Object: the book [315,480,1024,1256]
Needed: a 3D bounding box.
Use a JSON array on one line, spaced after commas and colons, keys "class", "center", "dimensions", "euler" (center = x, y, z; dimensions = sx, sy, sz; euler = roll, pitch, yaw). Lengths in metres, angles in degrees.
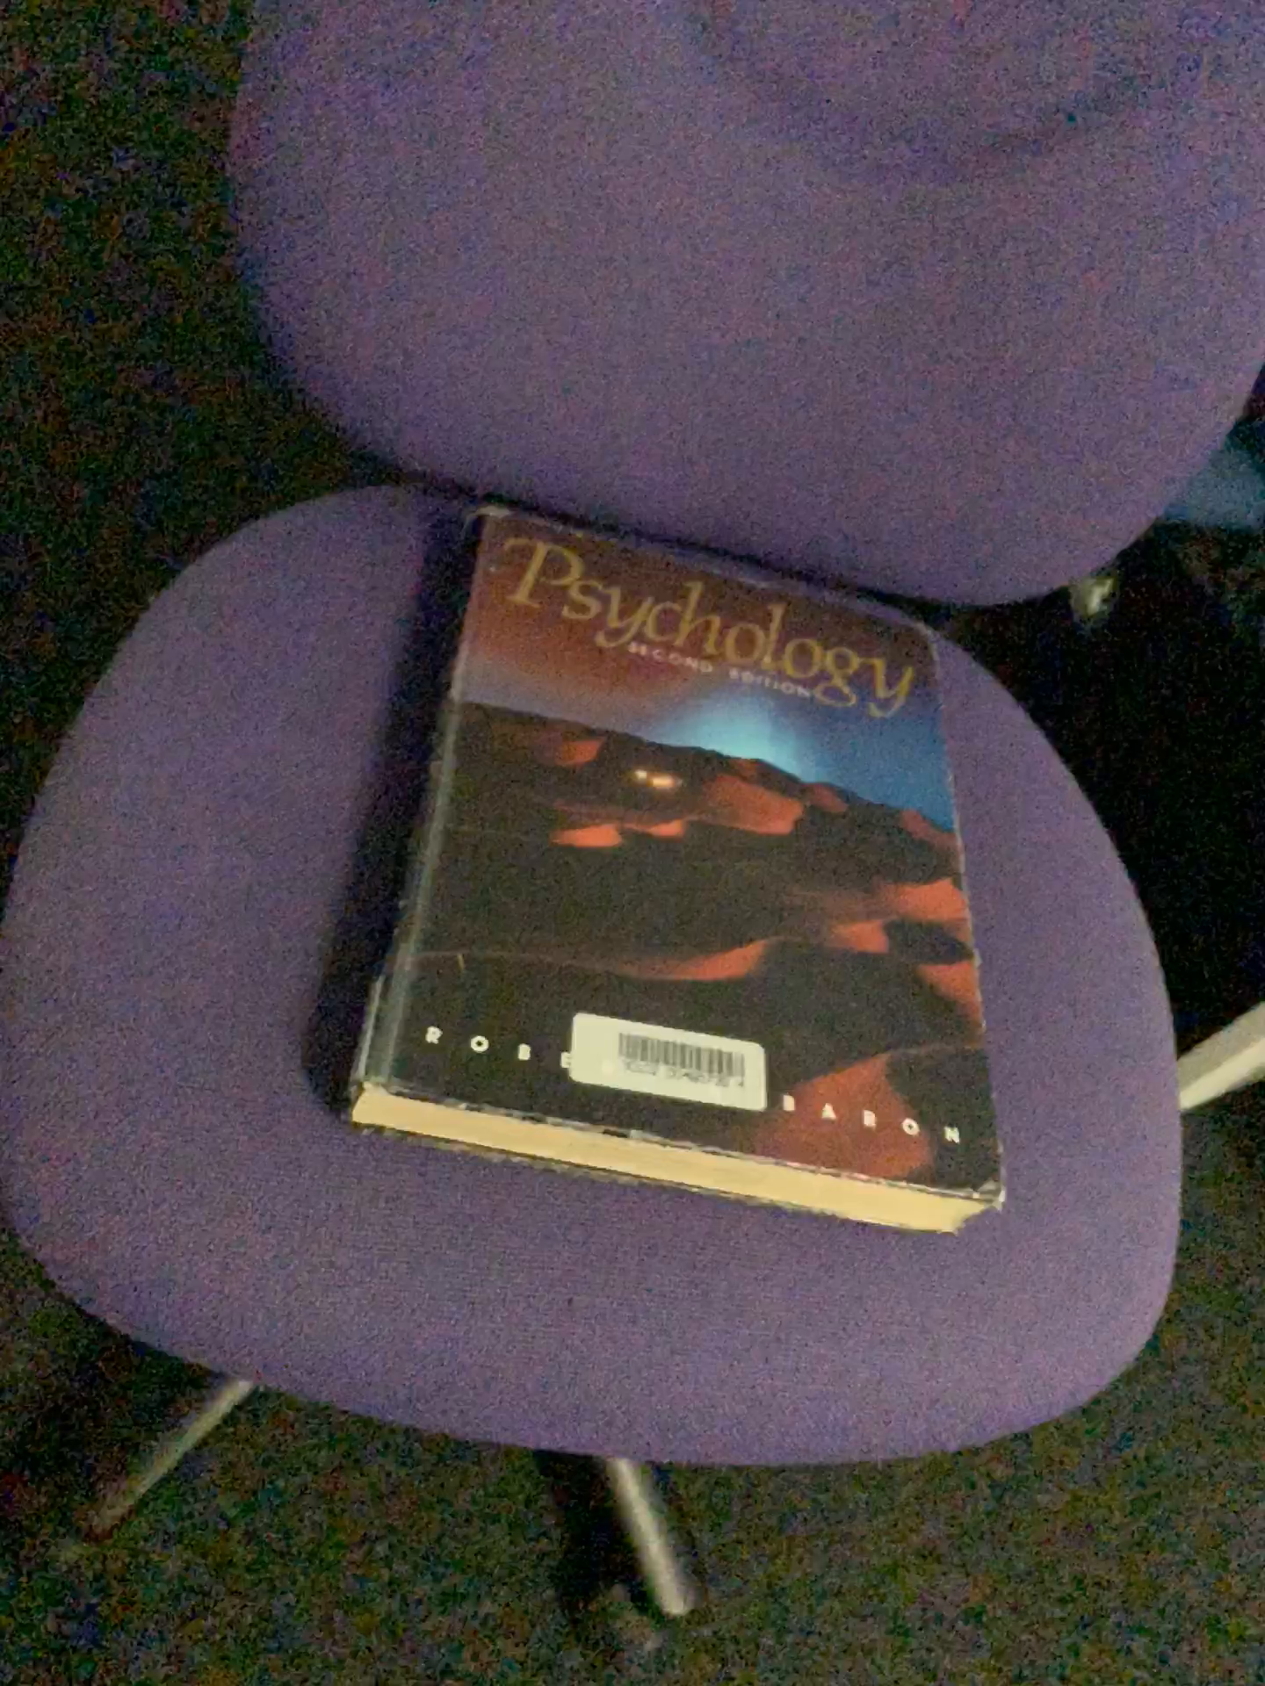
[{"class": "book", "center": [0.024, -0.004, 0.509], "dimensions": [0.230, 0.040, 0.282], "euler": [13, 53, -11]}]
